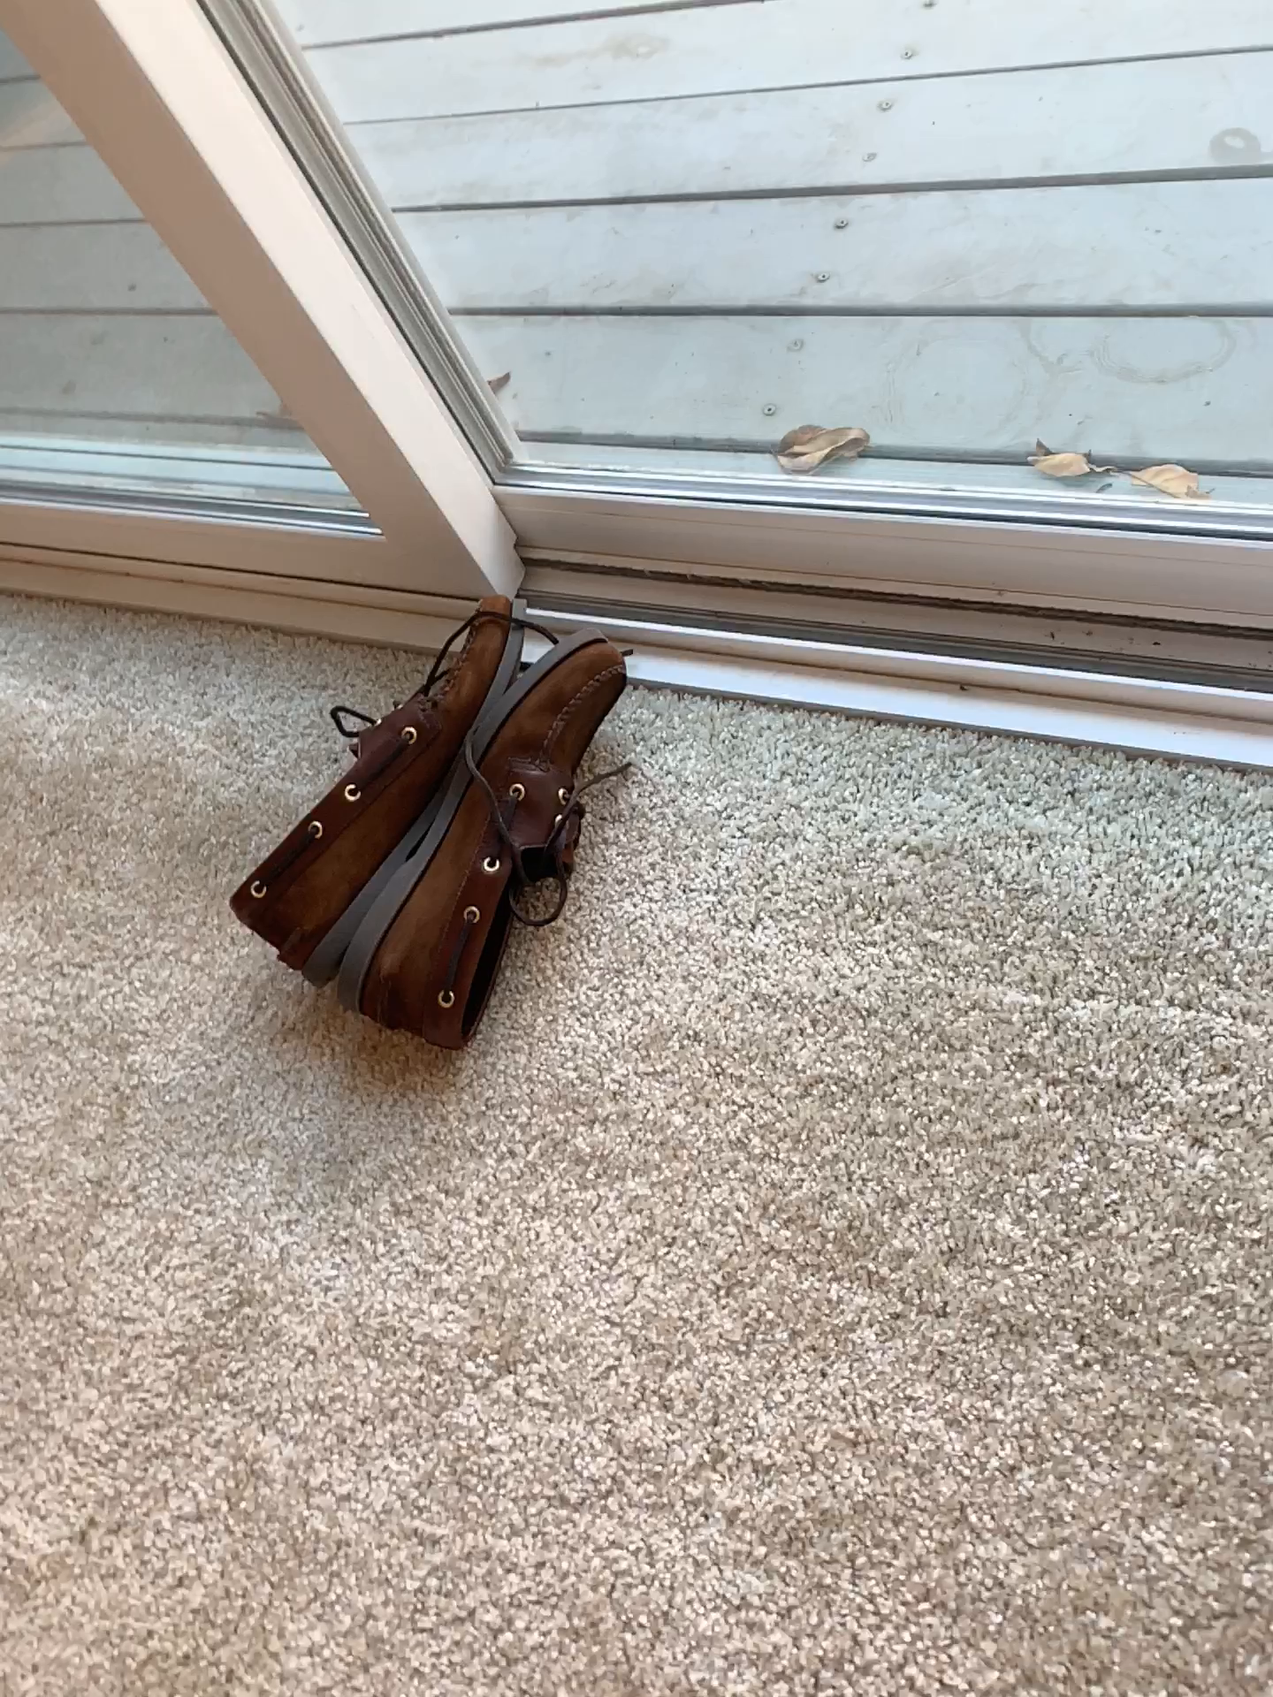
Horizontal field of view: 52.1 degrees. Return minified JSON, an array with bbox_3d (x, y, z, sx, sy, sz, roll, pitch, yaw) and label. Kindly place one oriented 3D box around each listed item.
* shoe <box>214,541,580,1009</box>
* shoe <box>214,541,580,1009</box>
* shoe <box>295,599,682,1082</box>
[{"bbox_3d":[-0.147,-0.047,0.862,0.090,0.110,0.280,27,74,9],"label":"shoe"},{"bbox_3d":[-0.147,-0.047,0.862,0.090,0.110,0.280,27,74,9],"label":"shoe"},{"bbox_3d":[-0.082,-0.004,0.814,0.090,0.110,0.270,26,74,17],"label":"shoe"}]
